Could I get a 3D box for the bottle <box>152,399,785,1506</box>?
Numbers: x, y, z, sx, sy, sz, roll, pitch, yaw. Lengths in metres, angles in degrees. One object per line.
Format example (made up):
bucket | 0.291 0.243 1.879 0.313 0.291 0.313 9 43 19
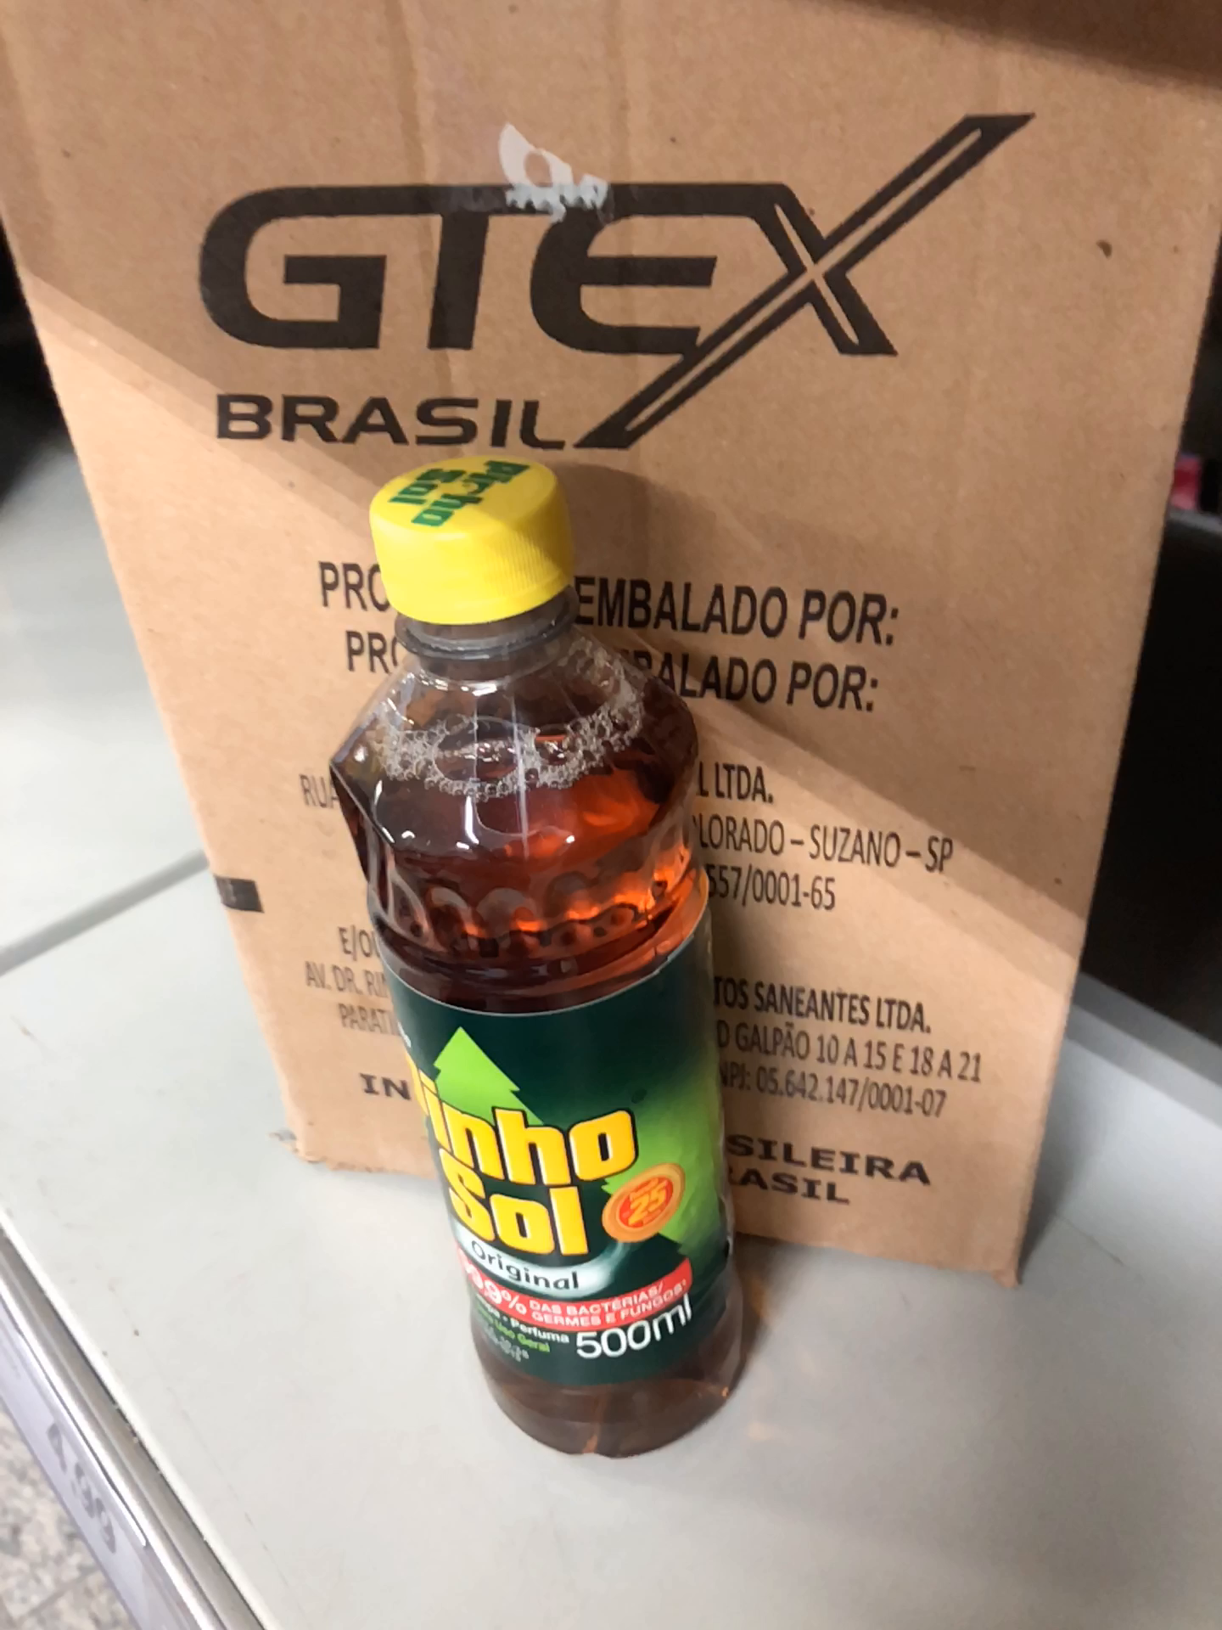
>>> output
bottle | -0.009 0.040 0.261 0.070 0.218 0.060 8 40 18
